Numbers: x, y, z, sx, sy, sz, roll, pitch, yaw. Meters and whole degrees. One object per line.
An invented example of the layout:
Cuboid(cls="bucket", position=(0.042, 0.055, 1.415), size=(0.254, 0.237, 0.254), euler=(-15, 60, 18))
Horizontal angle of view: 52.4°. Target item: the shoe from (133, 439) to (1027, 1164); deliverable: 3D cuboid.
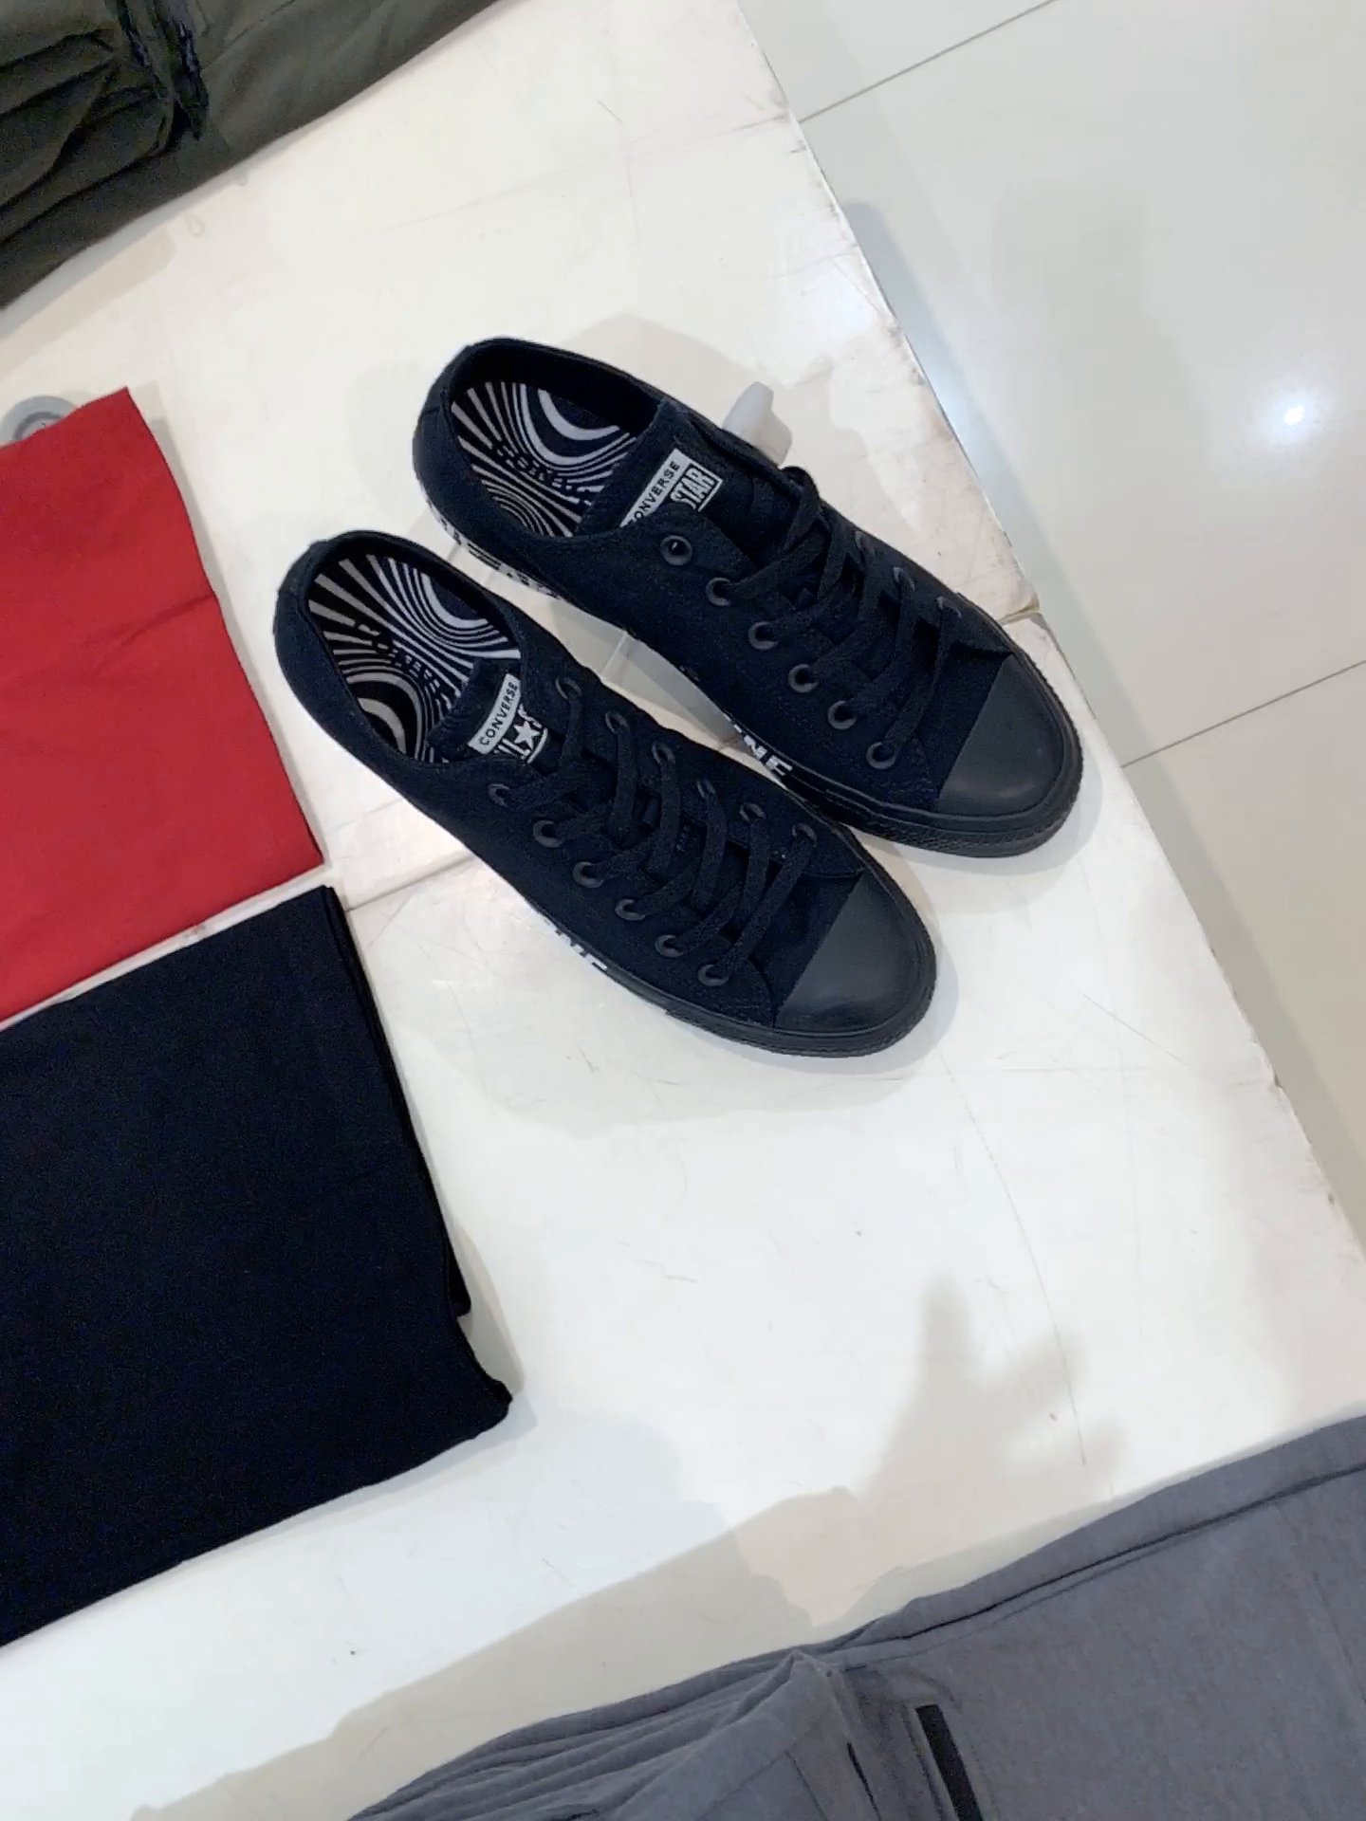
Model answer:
Cuboid(cls="shoe", position=(-0.036, -0.028, 0.499), size=(0.290, 0.100, 0.090), euler=(34, 78, -7))

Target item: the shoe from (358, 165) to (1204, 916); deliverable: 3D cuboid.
Cuboid(cls="shoe", position=(0.030, -0.115, 0.494), size=(0.270, 0.100, 0.100), euler=(34, 83, -9))
